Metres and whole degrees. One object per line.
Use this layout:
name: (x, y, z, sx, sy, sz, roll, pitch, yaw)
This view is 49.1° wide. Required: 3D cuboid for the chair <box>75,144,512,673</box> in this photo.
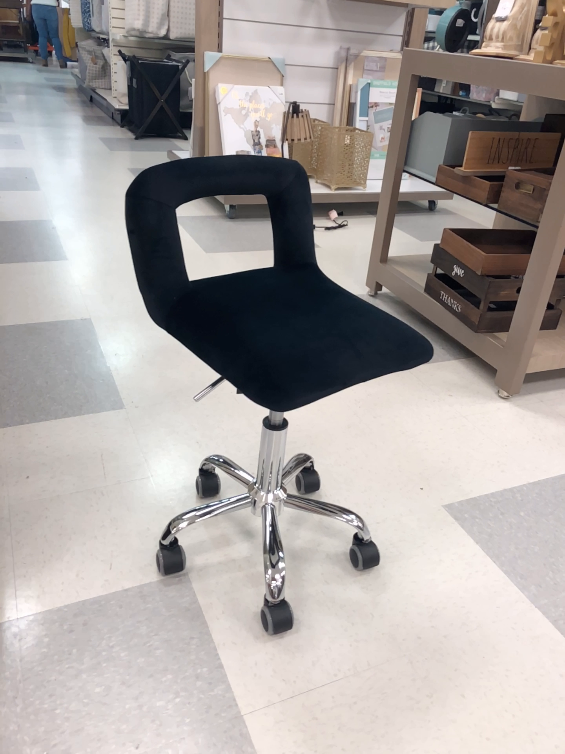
chair: (-0.021, 0.003, 1.102, 0.463, 0.693, 0.486, -18, 37, -35)
